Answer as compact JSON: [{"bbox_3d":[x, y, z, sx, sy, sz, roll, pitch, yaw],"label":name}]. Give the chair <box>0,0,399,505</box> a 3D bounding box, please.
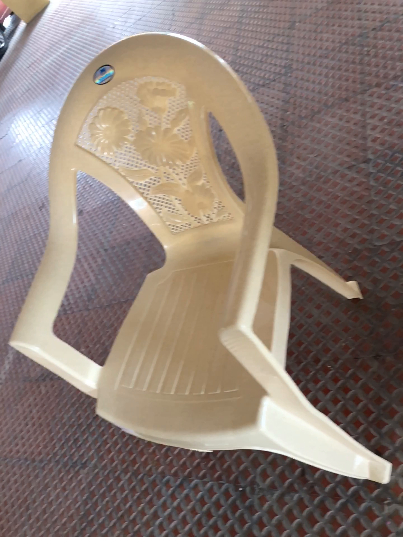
[{"bbox_3d":[-0.004,0.050,0.919,0.531,0.806,0.612,-10,56,40],"label":"chair"}]
